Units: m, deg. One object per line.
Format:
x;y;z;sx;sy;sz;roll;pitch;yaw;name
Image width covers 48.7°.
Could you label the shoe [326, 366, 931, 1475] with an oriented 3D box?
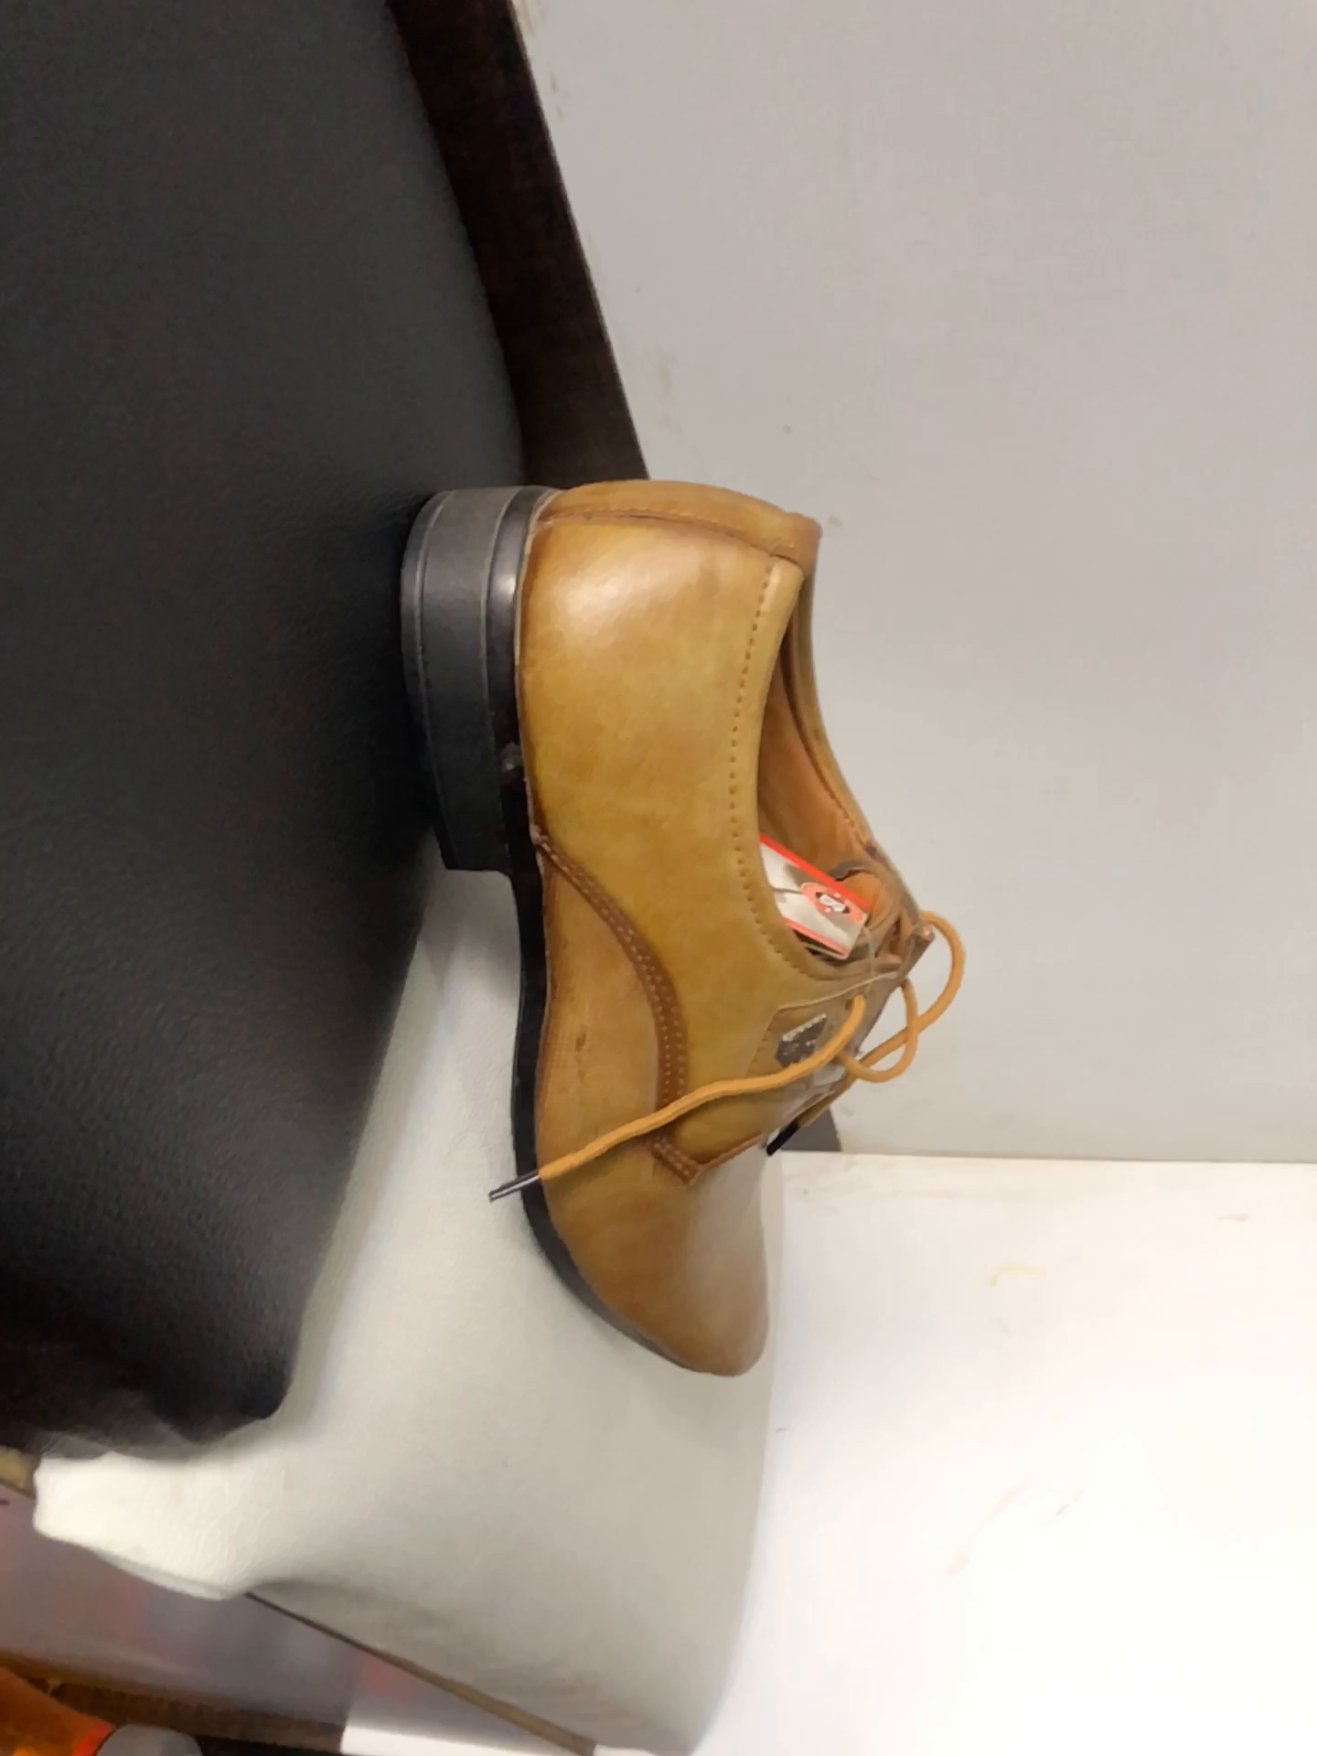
0.015;0.030;0.390;0.100;0.090;0.291;-73;156;-51;shoe
